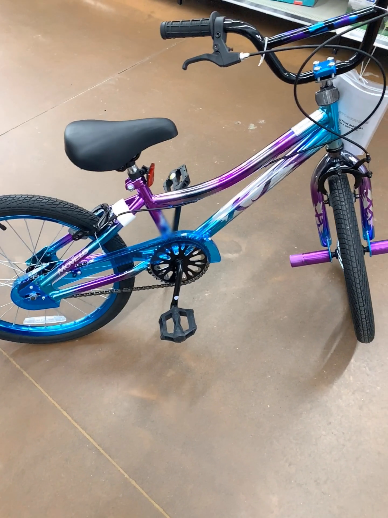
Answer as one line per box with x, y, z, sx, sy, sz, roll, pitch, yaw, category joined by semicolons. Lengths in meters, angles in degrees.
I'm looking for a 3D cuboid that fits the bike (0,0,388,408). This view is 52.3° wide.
-0.183;-0.187;0.875;0.934;0.932;0.580;-5;51;-6;bike
